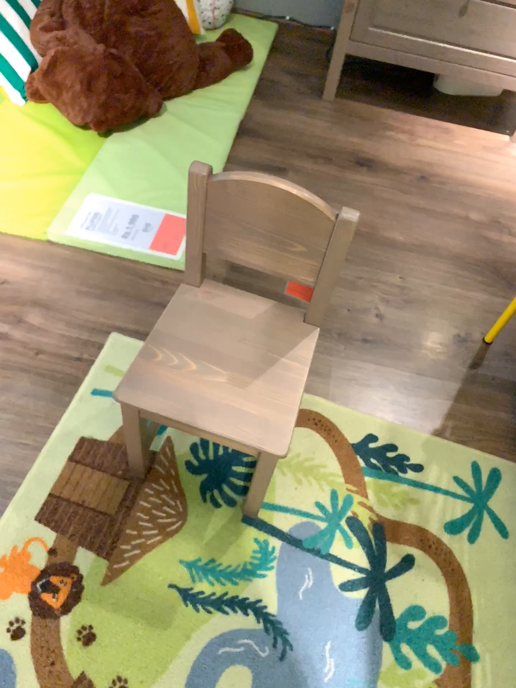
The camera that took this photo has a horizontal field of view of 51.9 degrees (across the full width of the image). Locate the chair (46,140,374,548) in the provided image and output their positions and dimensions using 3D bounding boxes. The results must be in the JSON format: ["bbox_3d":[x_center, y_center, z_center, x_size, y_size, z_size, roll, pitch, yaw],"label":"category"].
[{"bbox_3d":[-0.061,0.030,0.817,0.290,0.489,0.331,18,52,4],"label":"chair"}]
